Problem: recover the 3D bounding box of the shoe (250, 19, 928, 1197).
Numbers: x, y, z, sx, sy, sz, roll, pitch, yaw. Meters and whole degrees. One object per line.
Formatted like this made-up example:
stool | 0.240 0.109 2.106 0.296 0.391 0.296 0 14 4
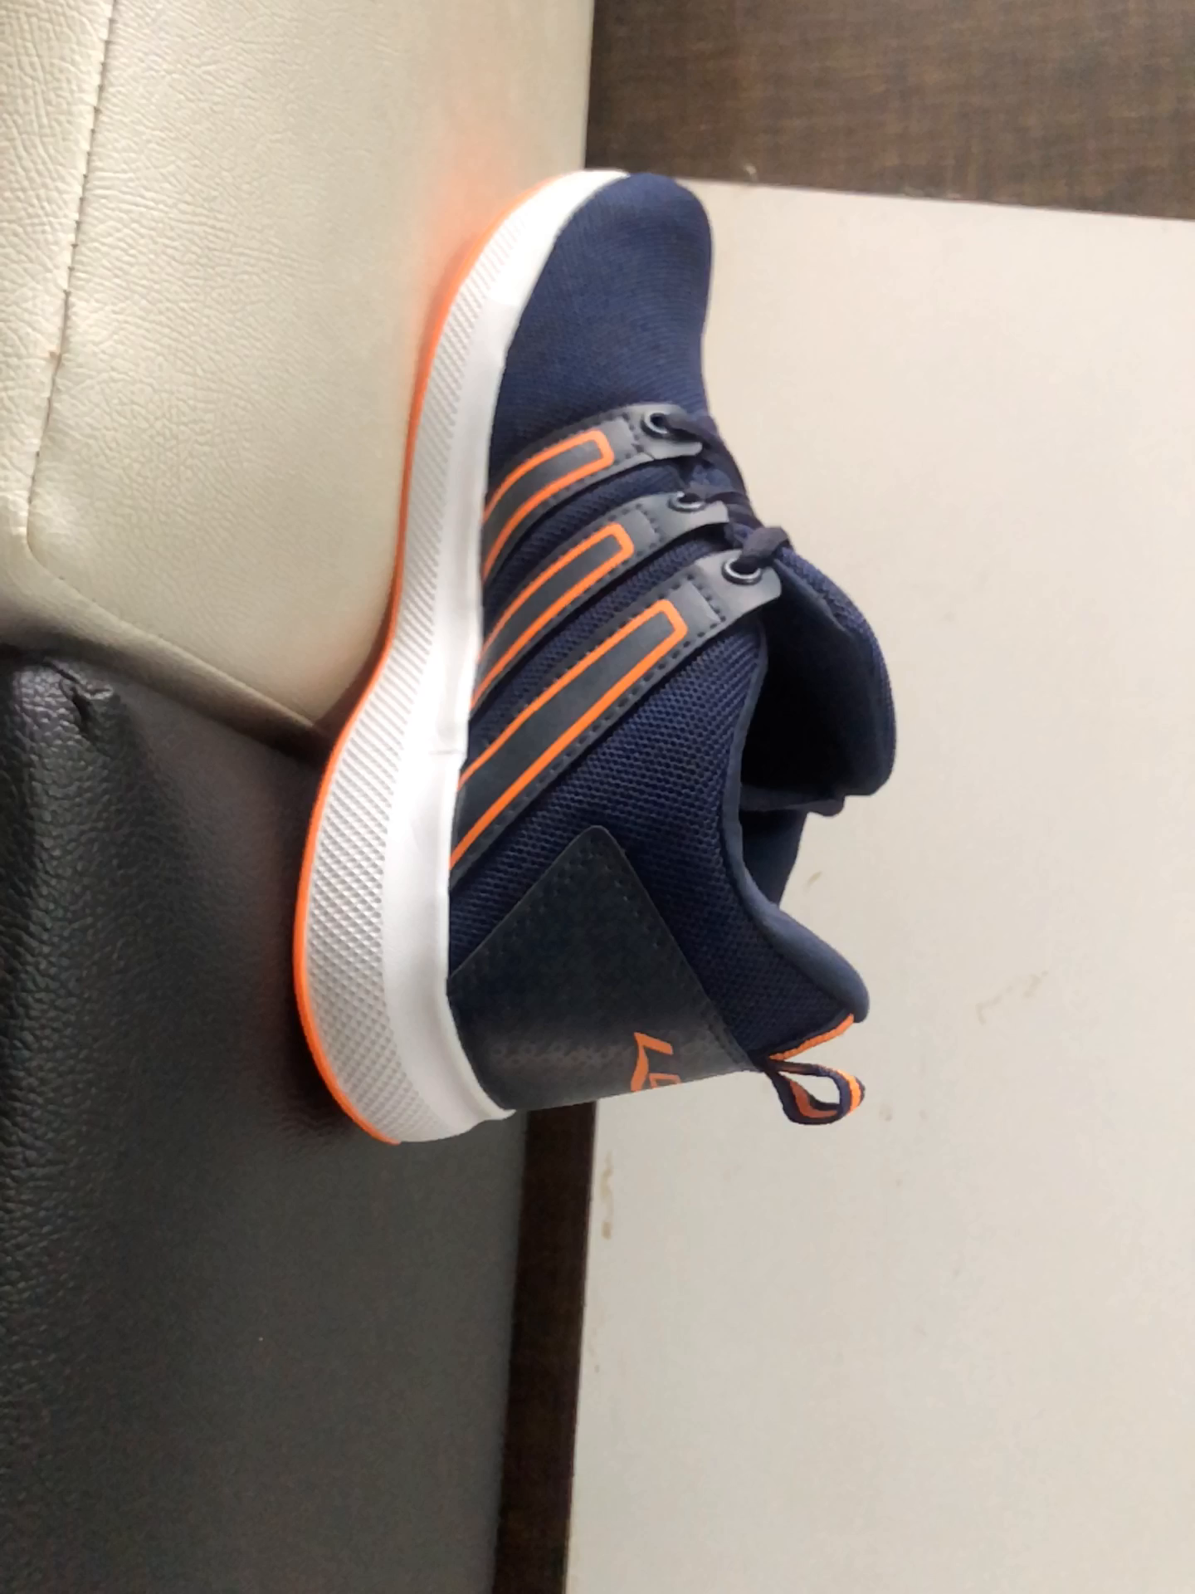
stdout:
shoe | 0.018 -0.049 0.360 0.120 0.110 0.280 61 37 -67
